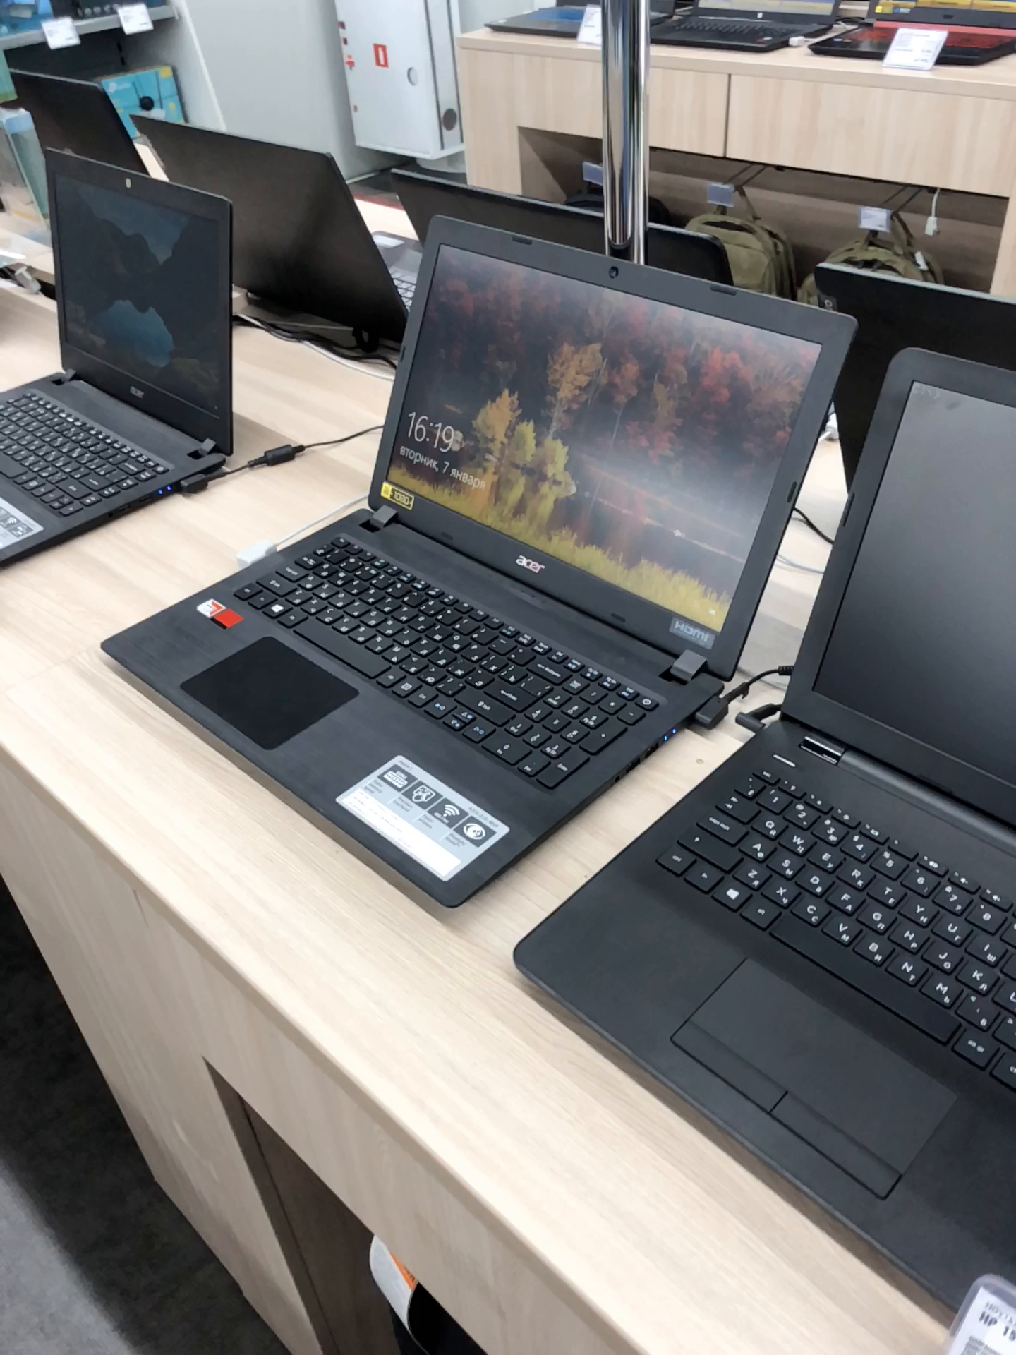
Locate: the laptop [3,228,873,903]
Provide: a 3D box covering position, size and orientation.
[{"bbox_3d":[-0.039,-0.117,0.747,0.374,0.208,0.368,28,49,35],"label":"laptop"}]

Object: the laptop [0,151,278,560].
[{"bbox_3d":[-0.450,-0.319,1.042,0.301,0.214,0.307,-34,47,-31],"label":"laptop"}]

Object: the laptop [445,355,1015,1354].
[{"bbox_3d":[0.246,0.054,0.492,0.338,0.212,0.379,-33,46,-32],"label":"laptop"}]
